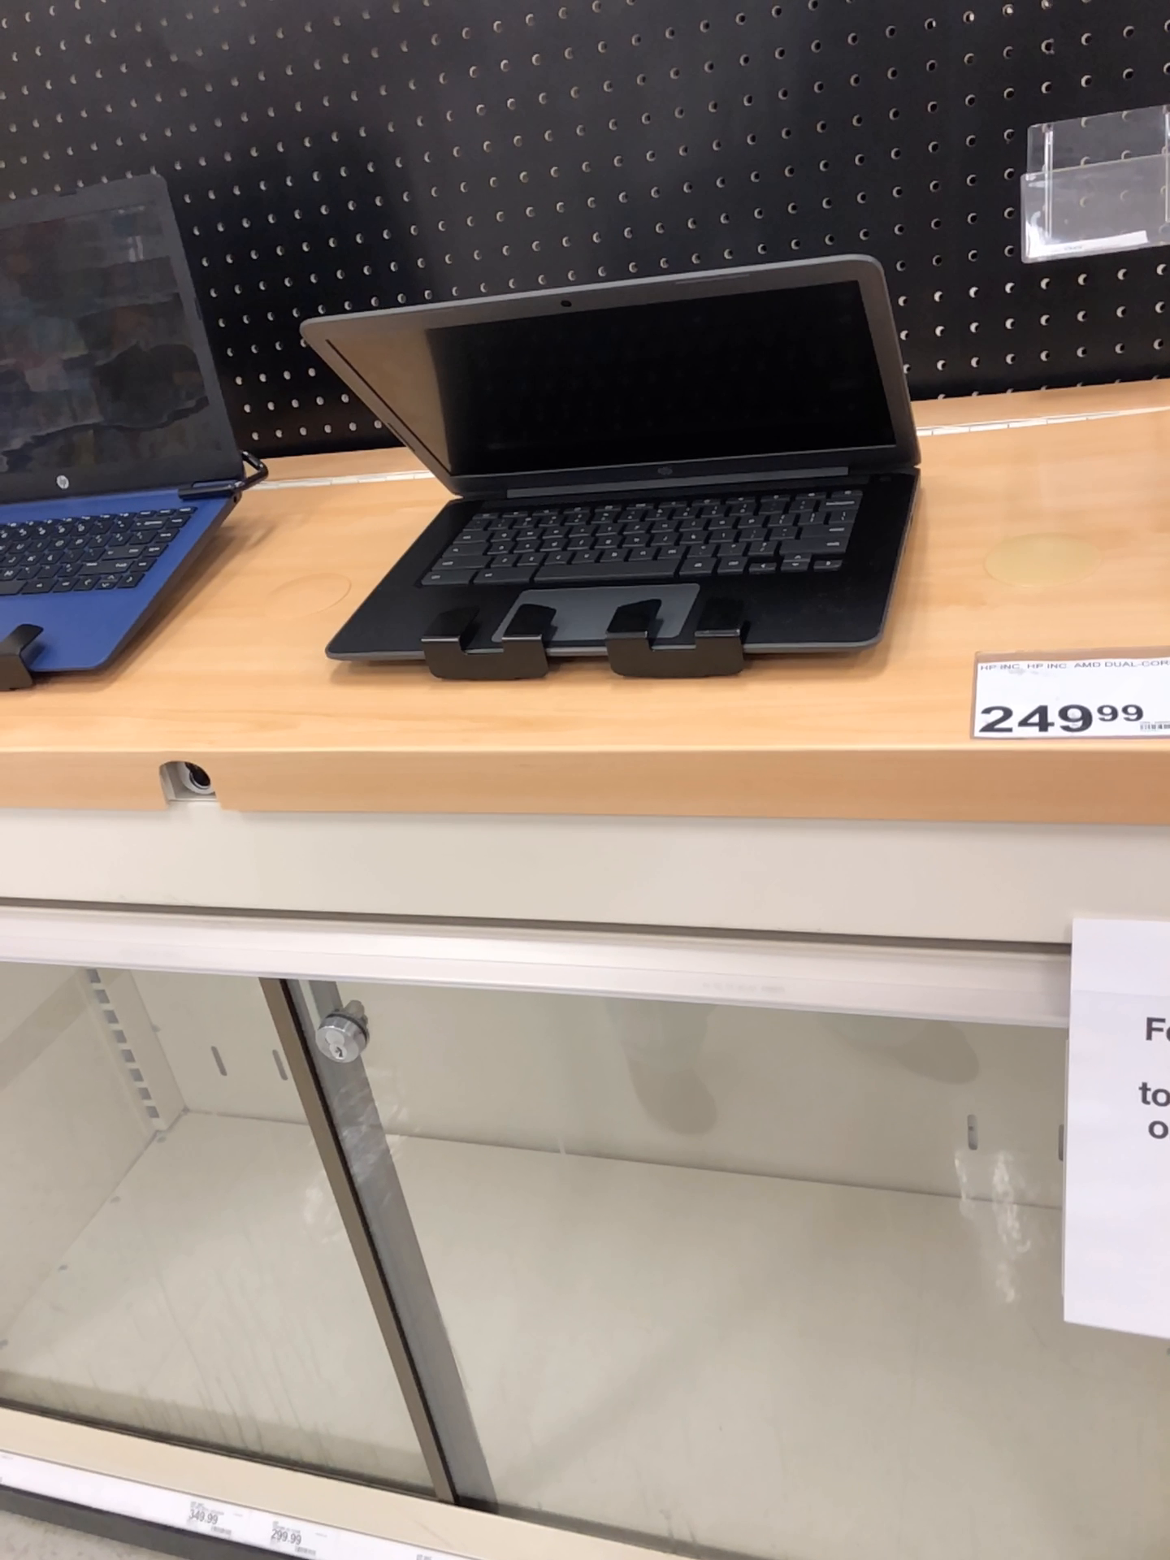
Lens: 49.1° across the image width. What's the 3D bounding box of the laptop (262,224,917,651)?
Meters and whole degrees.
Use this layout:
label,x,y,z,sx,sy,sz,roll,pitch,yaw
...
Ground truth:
label,x,y,z,sx,sy,sz,roll,pitch,yaw
laptop,0.016,-0.197,0.744,0.319,0.144,0.201,1,35,20
